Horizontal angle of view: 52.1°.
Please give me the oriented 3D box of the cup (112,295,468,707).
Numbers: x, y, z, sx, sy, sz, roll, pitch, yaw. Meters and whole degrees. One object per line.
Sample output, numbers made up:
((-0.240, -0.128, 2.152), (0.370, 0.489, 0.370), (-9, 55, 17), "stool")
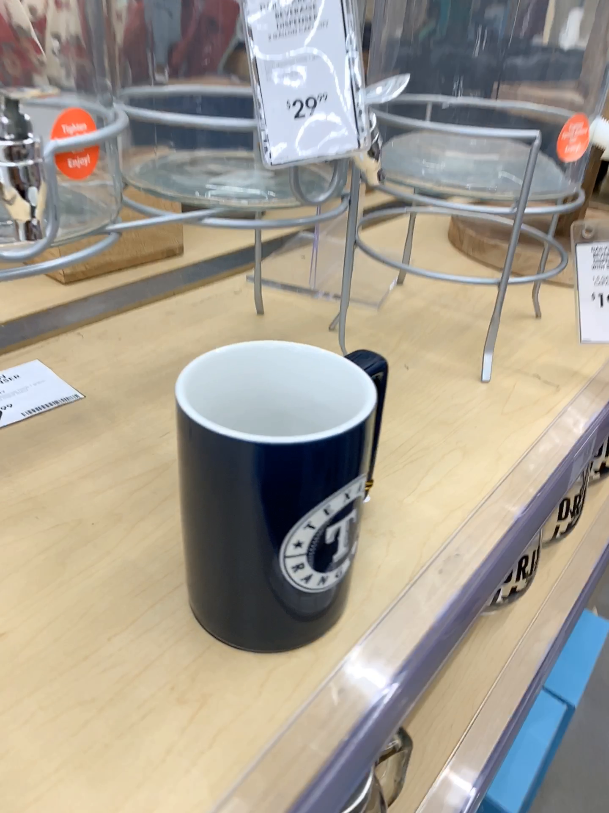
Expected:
((-0.004, 0.034, 0.298), (0.097, 0.121, 0.124), (25, 38, 30), "cup")
